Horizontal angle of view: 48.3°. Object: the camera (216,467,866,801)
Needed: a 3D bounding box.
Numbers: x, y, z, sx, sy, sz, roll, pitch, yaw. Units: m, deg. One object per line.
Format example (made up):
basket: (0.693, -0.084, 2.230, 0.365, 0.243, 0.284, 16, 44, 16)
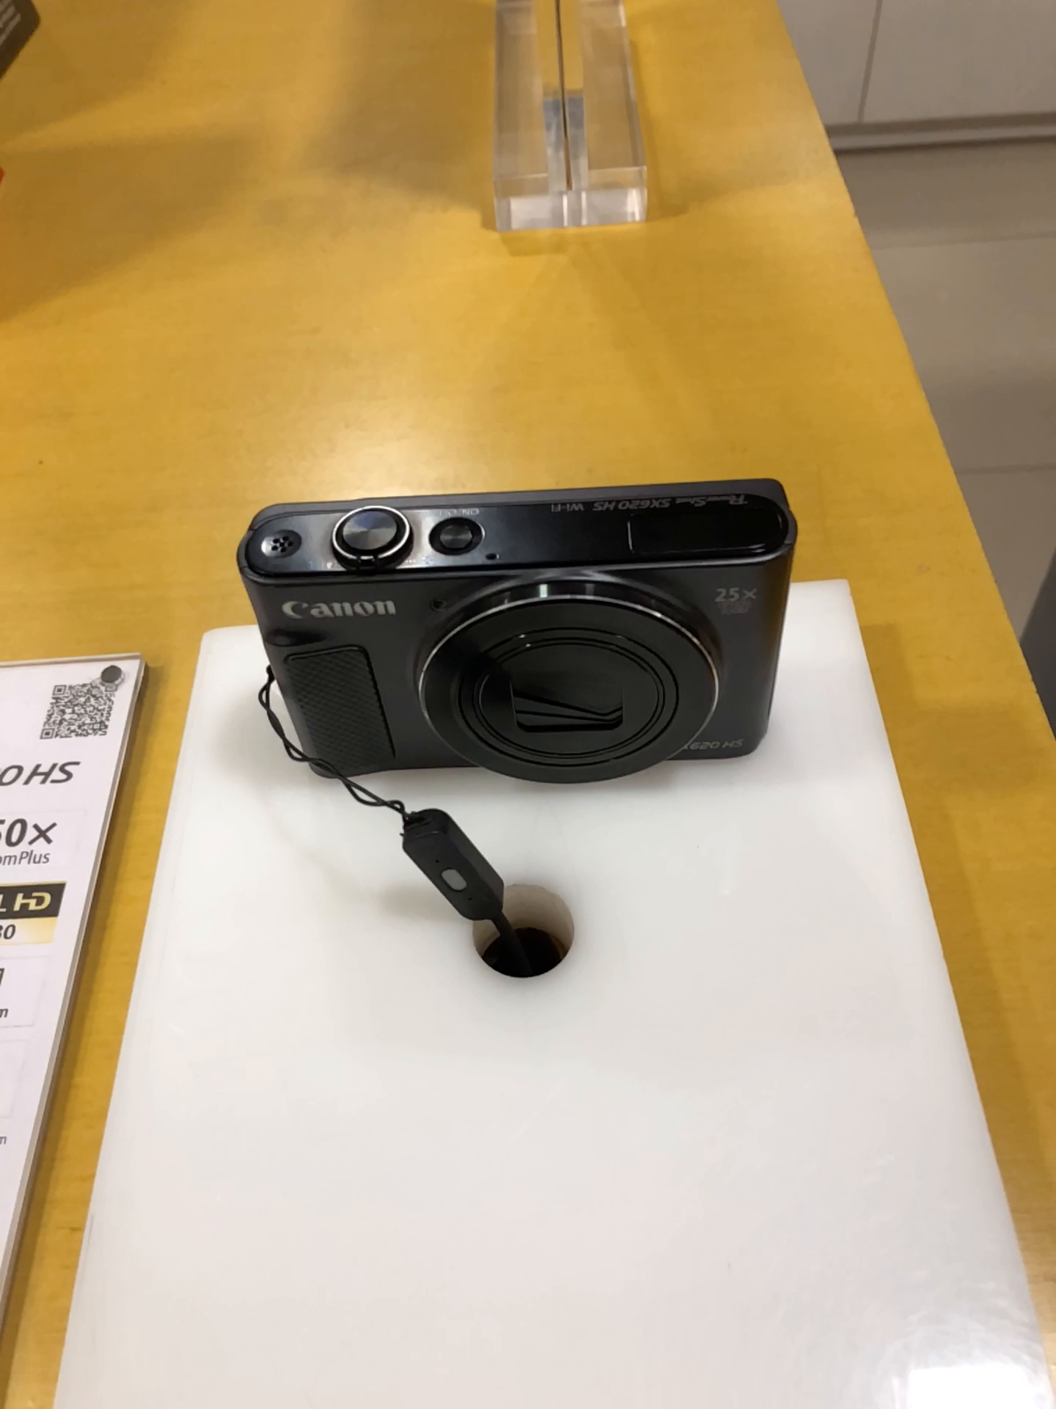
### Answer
camera: (0.003, -0.012, 0.232, 0.110, 0.060, 0.030, -2, 52, 3)
